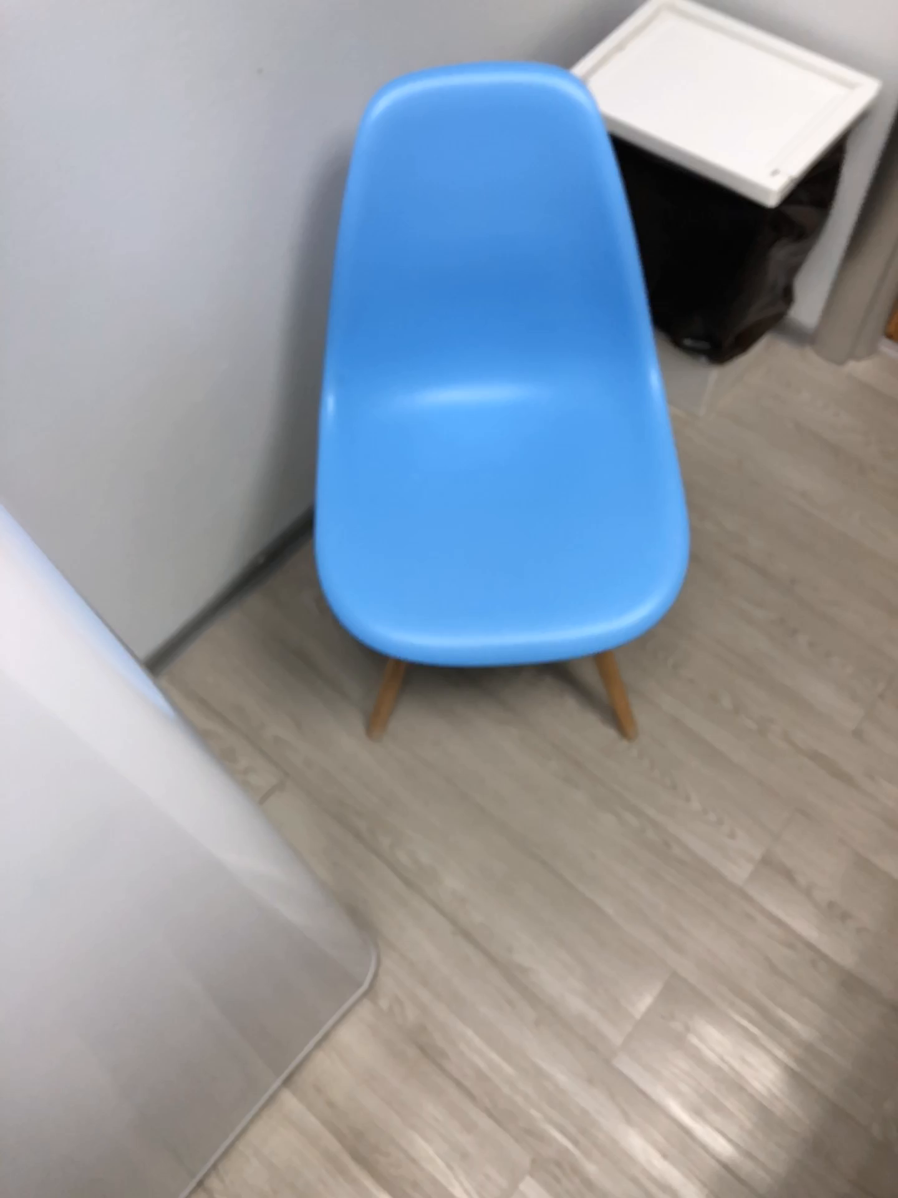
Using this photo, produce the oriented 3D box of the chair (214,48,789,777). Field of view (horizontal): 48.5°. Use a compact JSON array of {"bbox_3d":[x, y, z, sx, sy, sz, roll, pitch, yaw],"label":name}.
[{"bbox_3d":[0.071,-0.156,1.267,0.460,0.777,0.532,1,62,4],"label":"chair"}]
